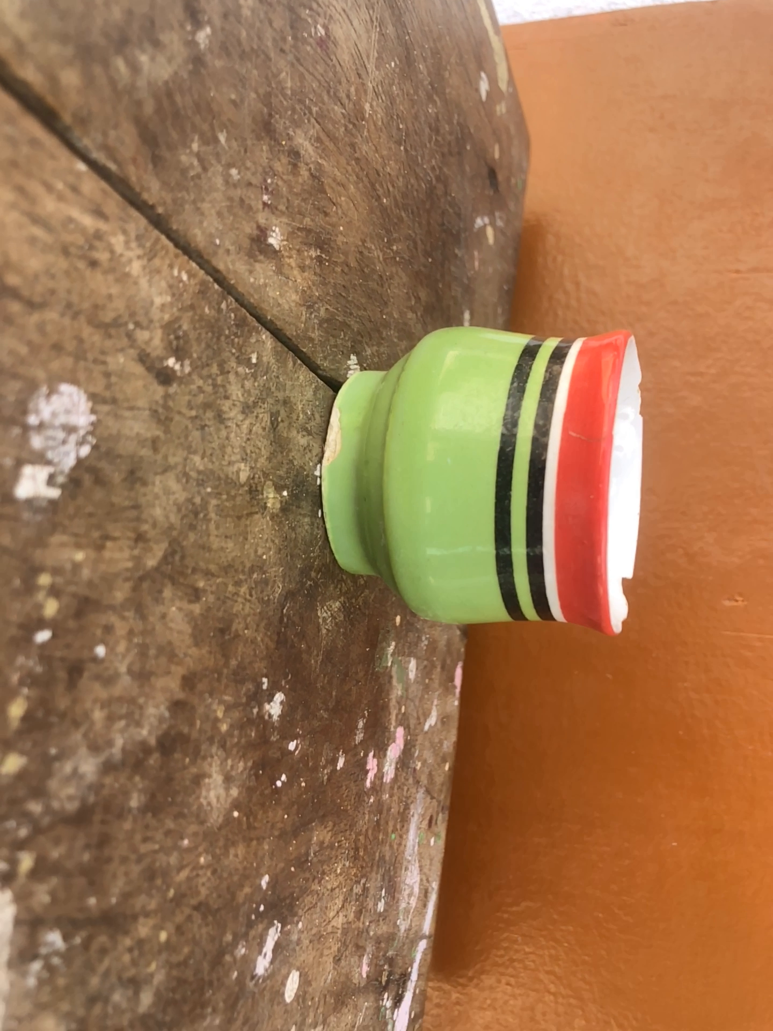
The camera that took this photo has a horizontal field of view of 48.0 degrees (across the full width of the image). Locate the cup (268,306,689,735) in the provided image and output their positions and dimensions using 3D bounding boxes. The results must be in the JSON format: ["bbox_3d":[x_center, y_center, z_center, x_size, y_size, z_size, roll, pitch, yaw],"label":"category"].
[{"bbox_3d":[0.027,-0.008,0.191,0.090,0.070,0.070,-33,124,-69],"label":"cup"}]
